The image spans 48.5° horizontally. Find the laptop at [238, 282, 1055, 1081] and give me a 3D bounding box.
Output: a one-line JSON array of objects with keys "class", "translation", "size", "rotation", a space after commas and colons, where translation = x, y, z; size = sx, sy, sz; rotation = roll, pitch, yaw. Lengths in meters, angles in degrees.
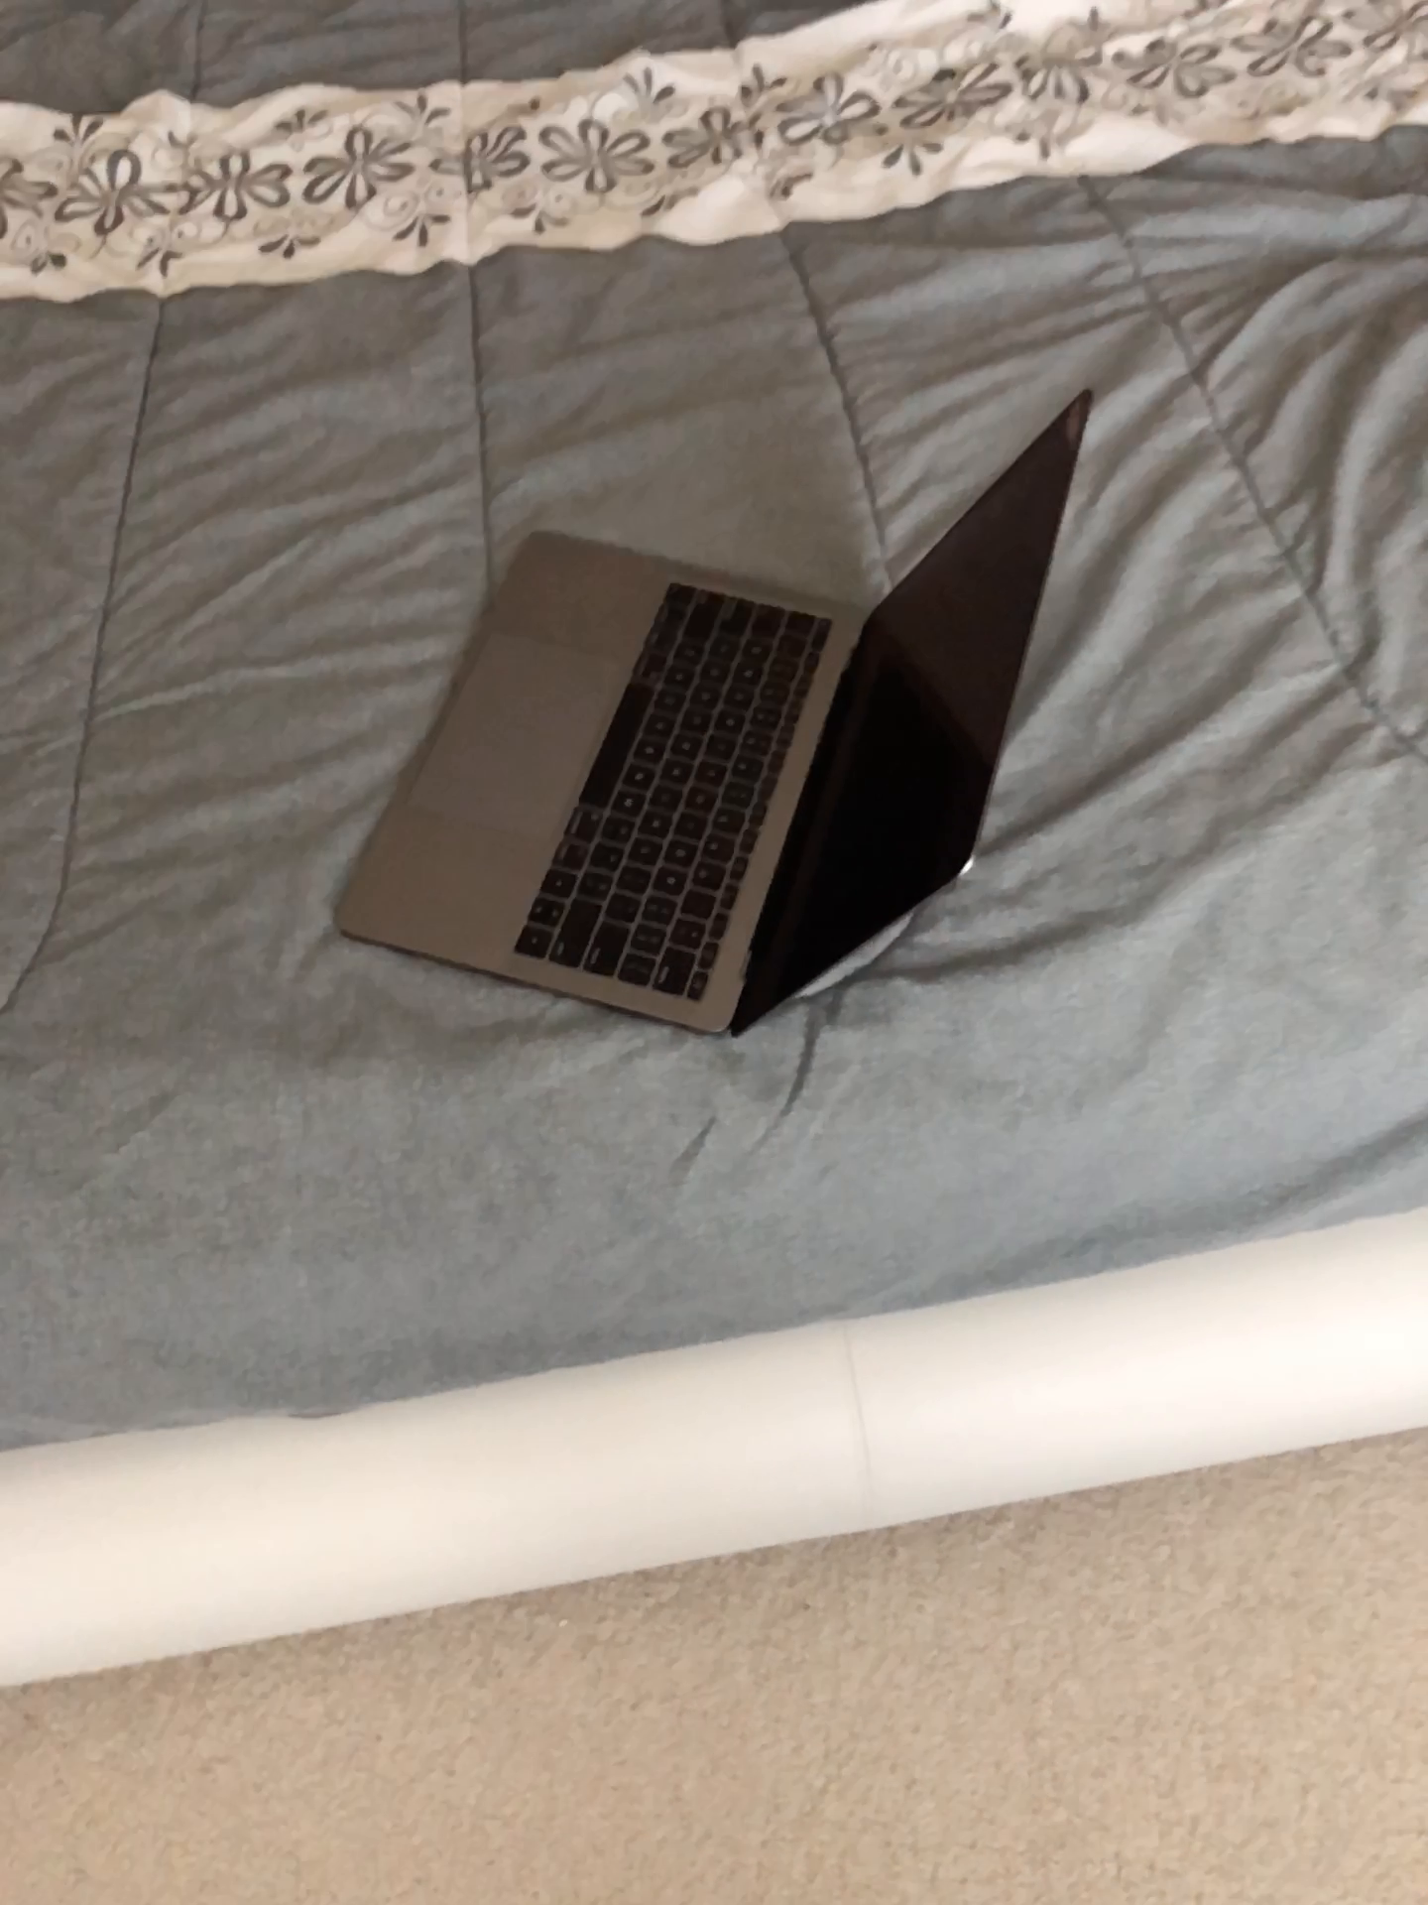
[{"class": "laptop", "translation": [-0.011, -0.135, 0.748], "size": [0.281, 0.159, 0.280], "rotation": [14, 58, 9]}]
